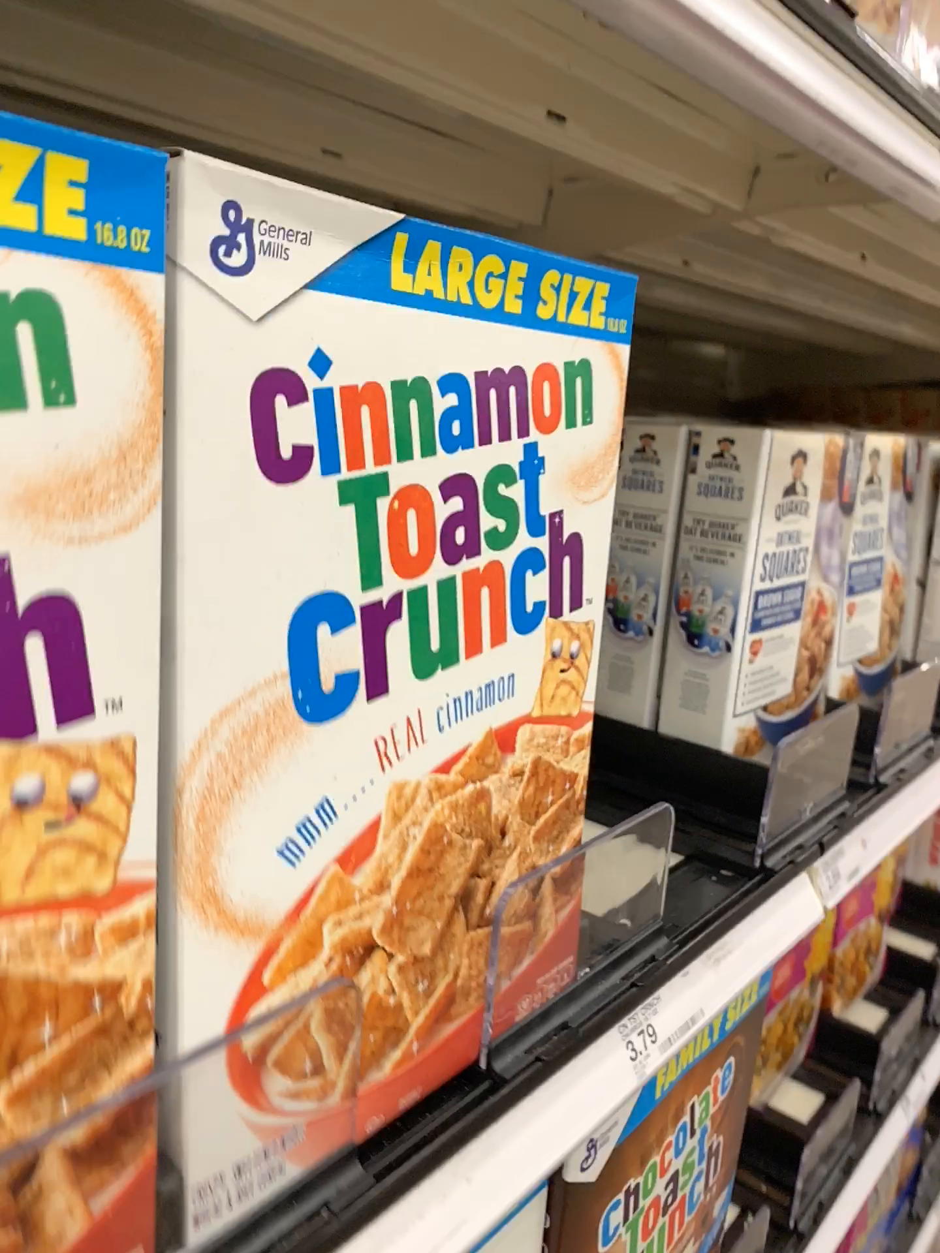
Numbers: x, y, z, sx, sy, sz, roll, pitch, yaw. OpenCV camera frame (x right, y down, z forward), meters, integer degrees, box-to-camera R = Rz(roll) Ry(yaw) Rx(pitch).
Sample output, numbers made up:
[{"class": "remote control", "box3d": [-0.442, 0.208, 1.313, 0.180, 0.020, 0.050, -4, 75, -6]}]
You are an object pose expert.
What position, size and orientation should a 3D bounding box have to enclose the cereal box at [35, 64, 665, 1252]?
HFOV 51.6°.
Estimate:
[{"class": "cereal box", "box3d": [-0.029, 0.008, 0.322, 0.070, 0.289, 0.190, 14, 16, 39]}]
